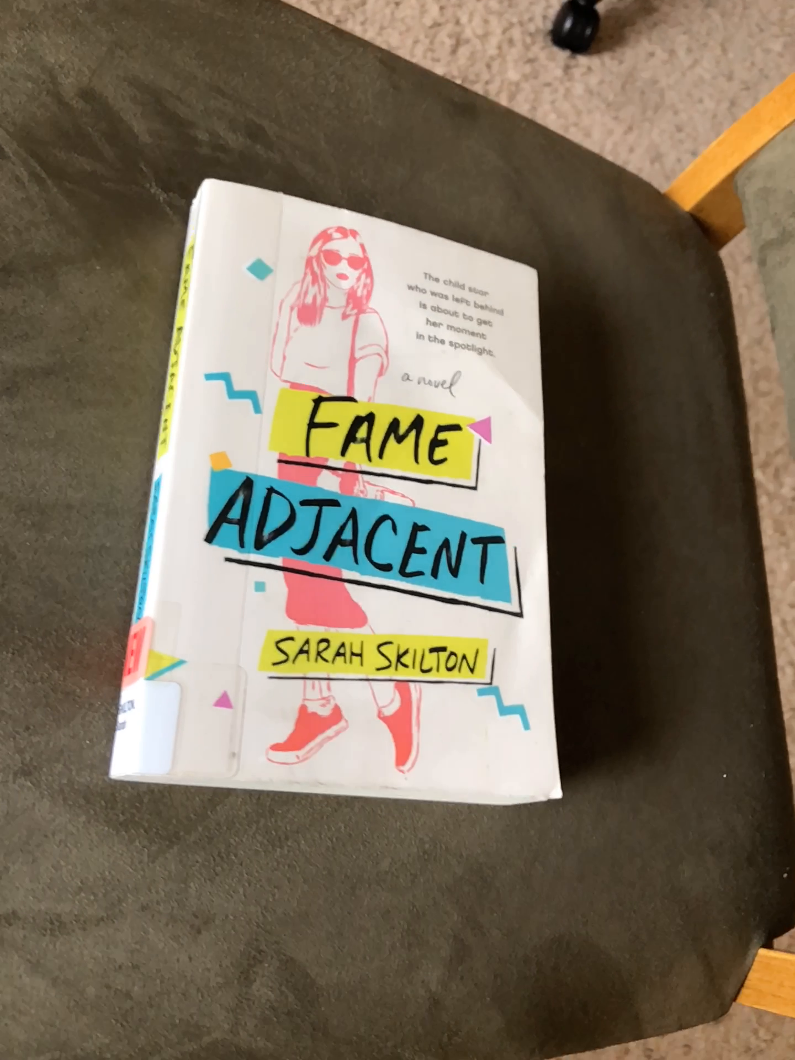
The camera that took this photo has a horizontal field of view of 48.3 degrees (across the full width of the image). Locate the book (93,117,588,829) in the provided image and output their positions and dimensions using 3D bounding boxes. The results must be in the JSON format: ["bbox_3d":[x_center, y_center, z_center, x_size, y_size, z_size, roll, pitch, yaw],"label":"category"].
[{"bbox_3d":[-0.011,-0.019,0.299,0.140,0.040,0.220,9,69,-18],"label":"book"}]
